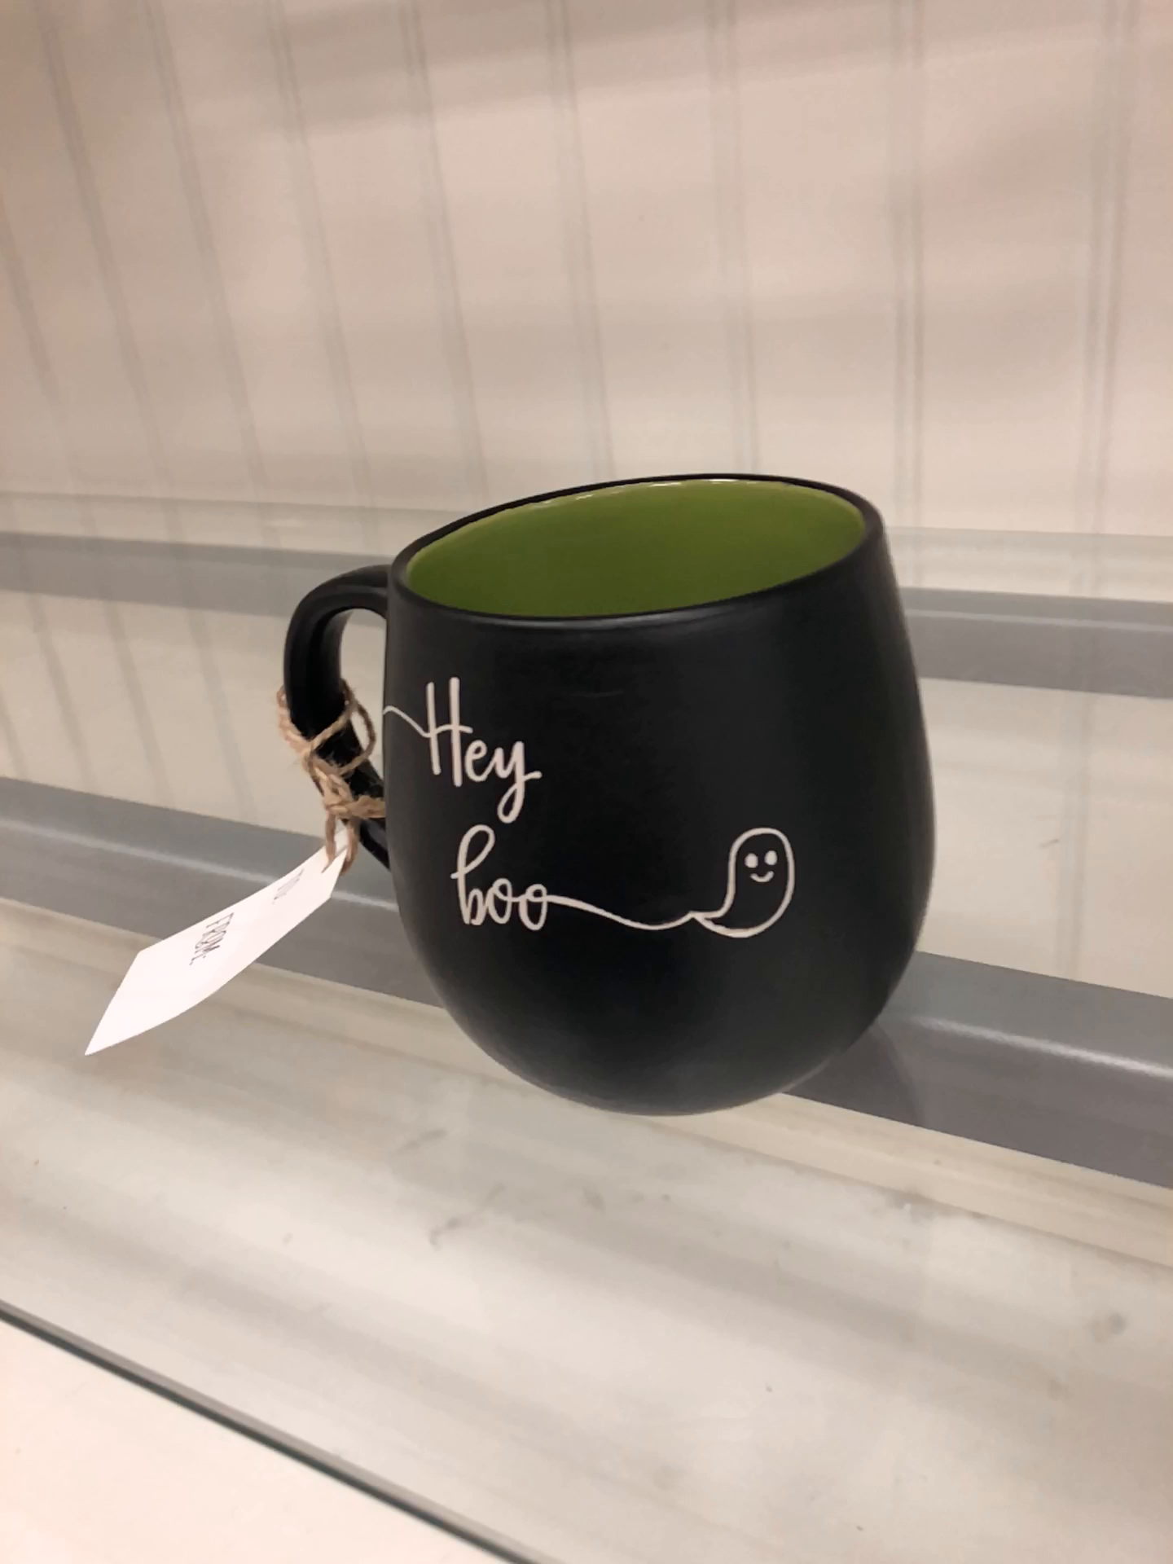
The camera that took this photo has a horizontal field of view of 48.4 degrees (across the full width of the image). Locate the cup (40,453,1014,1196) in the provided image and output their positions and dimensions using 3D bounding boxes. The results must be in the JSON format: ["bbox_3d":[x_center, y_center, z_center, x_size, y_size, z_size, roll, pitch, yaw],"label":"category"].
[{"bbox_3d":[-0.006,-0.006,0.251,0.149,0.089,0.091,9,30,28],"label":"cup"}]
